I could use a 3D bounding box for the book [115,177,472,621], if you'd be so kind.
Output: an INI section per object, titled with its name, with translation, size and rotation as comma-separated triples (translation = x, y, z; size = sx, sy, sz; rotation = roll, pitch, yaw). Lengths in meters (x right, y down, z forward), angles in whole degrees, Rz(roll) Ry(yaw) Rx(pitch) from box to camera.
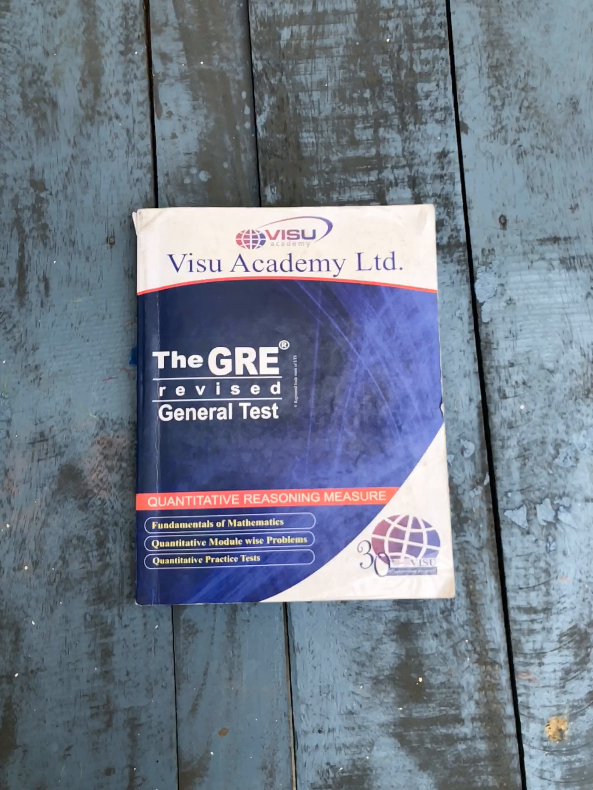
[book]
translation = -0.005, -0.001, 0.460
size = 0.220, 0.060, 0.290
rotation = -1, 81, -1
